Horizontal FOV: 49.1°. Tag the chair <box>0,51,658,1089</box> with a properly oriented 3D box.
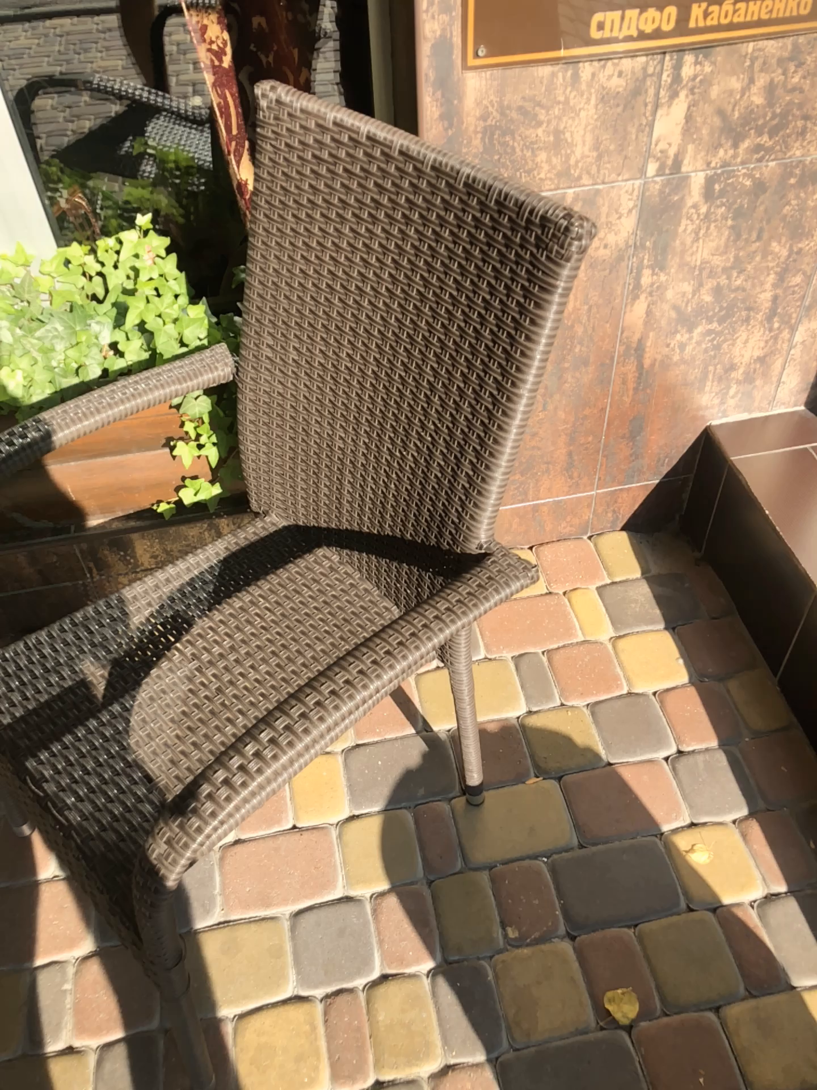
[{"bbox_3d":[-0.201,0.071,0.952,0.581,0.846,0.521,-34,55,-27],"label":"chair"}]
